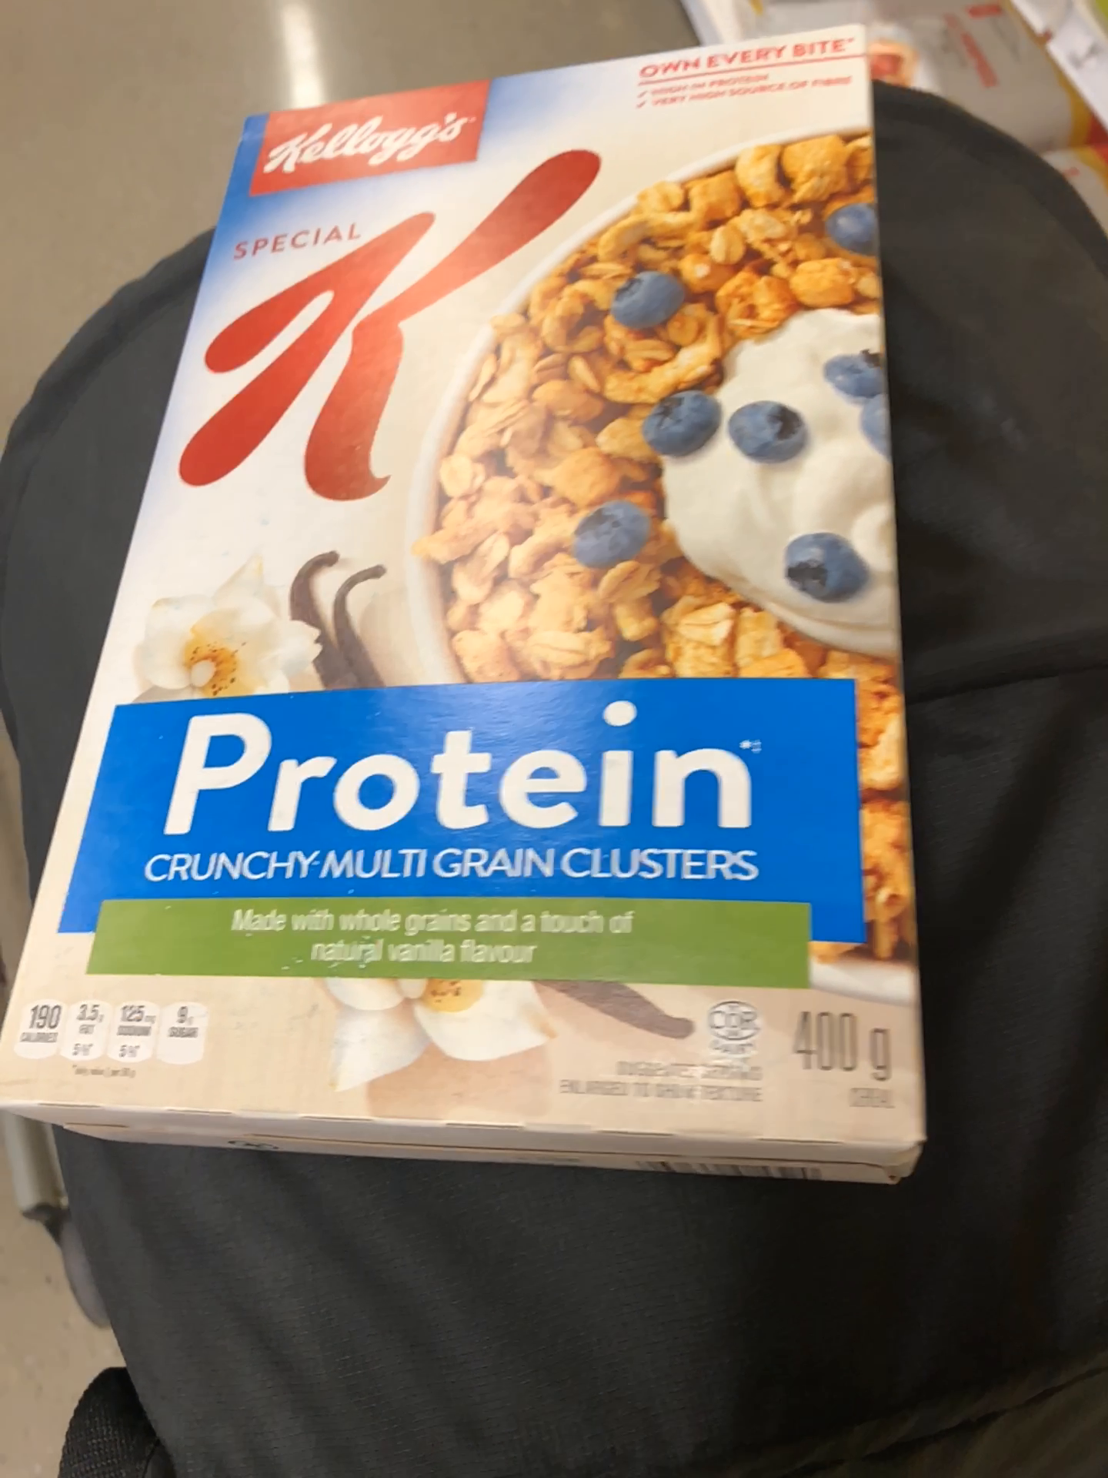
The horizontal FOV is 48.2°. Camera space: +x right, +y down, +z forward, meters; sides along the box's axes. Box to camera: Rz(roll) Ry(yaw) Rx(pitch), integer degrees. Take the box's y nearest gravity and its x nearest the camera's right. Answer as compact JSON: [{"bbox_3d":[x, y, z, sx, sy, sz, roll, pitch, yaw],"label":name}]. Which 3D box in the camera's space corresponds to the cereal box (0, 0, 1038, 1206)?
[{"bbox_3d":[-0.008,-0.049,0.276,0.190,0.050,0.270,-2,62,14],"label":"cereal box"}]
